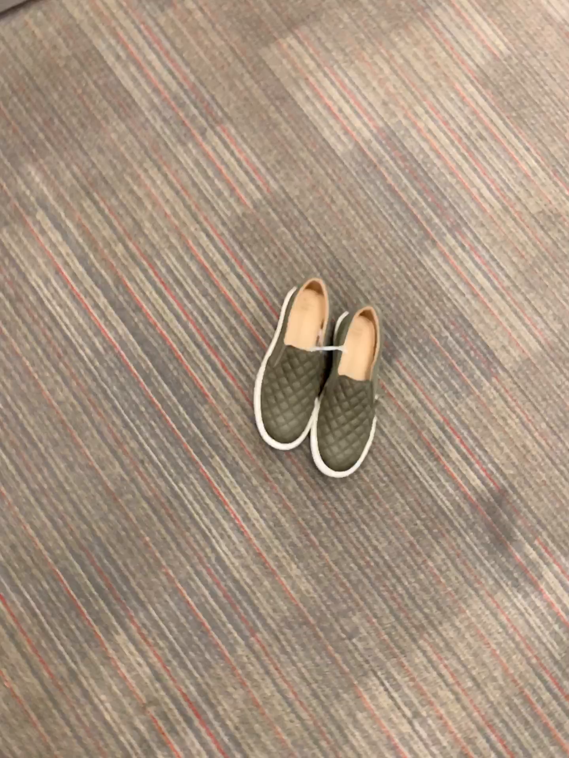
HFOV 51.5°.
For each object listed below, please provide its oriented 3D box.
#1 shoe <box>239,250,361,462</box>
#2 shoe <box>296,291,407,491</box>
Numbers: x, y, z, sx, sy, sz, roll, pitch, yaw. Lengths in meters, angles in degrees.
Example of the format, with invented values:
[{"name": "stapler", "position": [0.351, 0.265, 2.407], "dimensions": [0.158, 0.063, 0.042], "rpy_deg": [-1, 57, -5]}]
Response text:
[{"name": "shoe", "position": [0.022, -0.030, 0.921], "dimensions": [0.100, 0.130, 0.290], "rpy_deg": [16, 75, -5]}, {"name": "shoe", "position": [0.107, 0.023, 0.949], "dimensions": [0.100, 0.110, 0.290], "rpy_deg": [14, 75, -5]}]
